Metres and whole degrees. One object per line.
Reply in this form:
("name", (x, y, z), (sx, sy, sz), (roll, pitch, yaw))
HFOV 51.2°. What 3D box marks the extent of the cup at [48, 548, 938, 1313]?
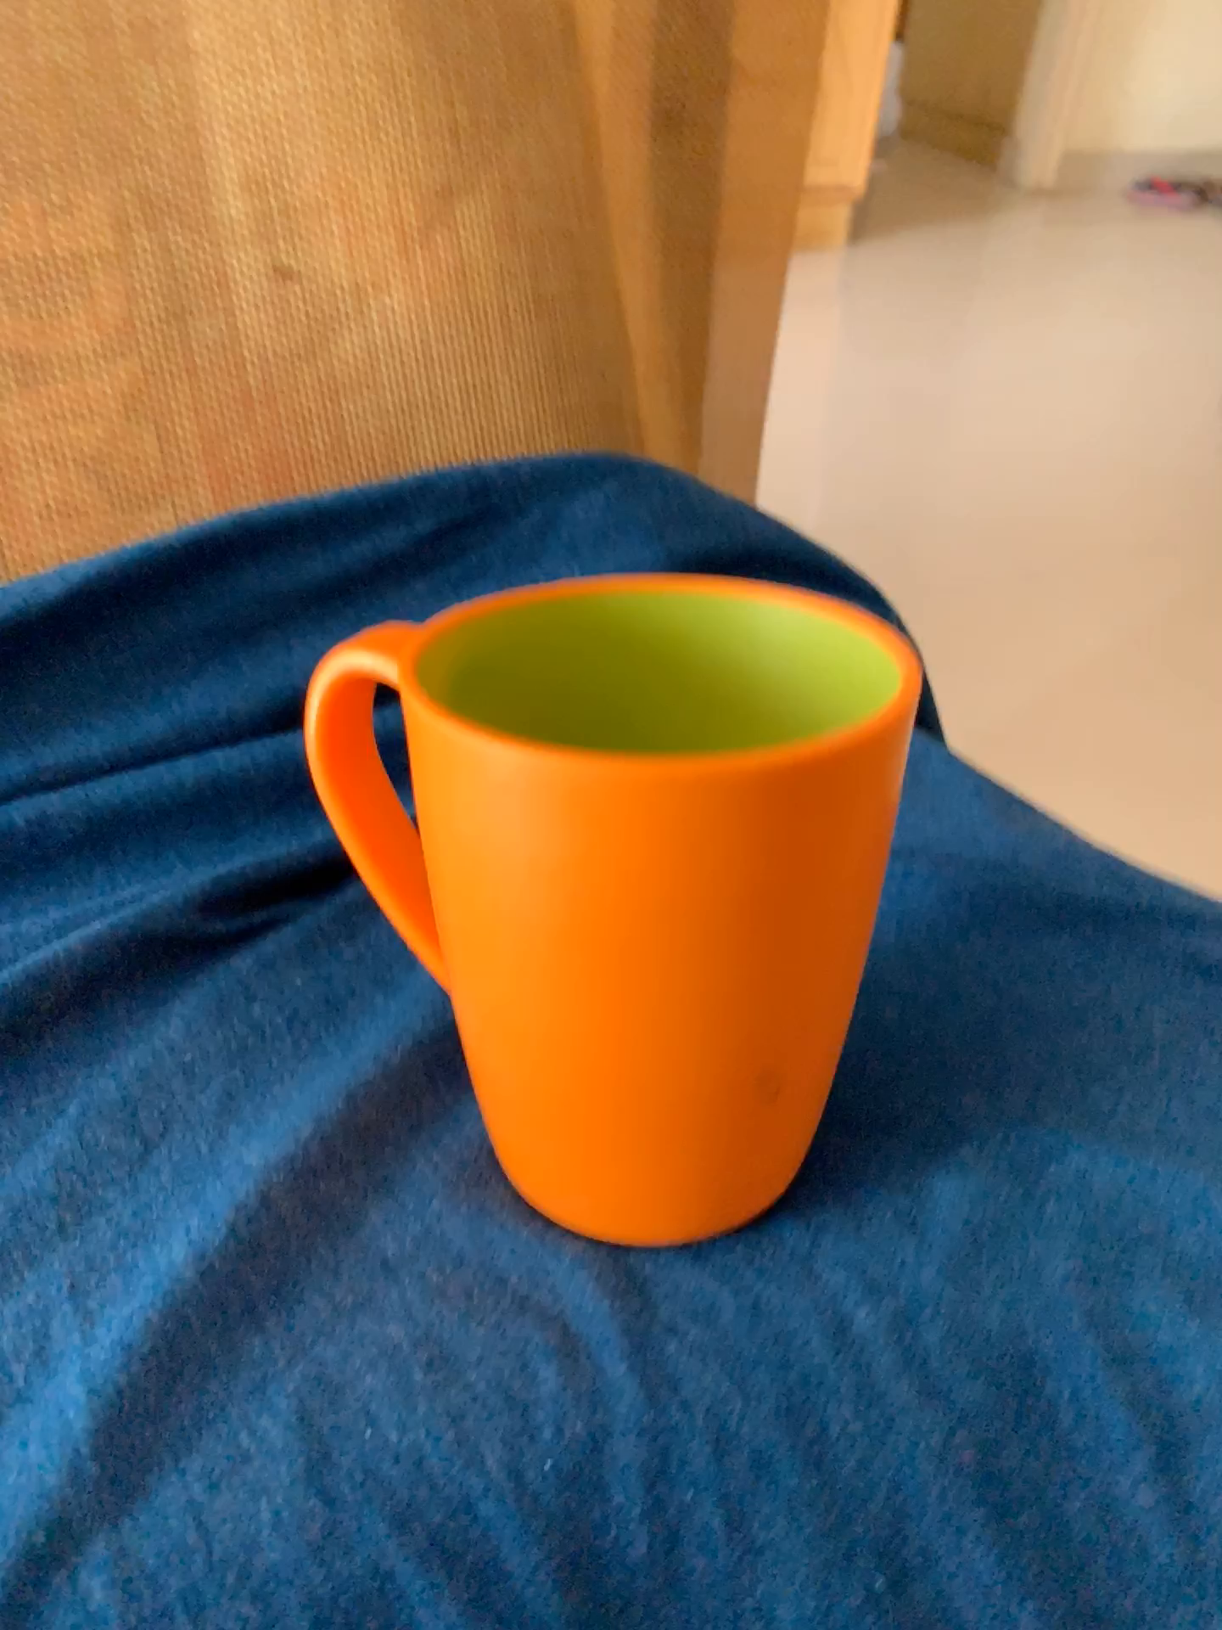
("cup", (-0.008, 0.008, 0.229), (0.120, 0.089, 0.101), (4, 23, 16))
